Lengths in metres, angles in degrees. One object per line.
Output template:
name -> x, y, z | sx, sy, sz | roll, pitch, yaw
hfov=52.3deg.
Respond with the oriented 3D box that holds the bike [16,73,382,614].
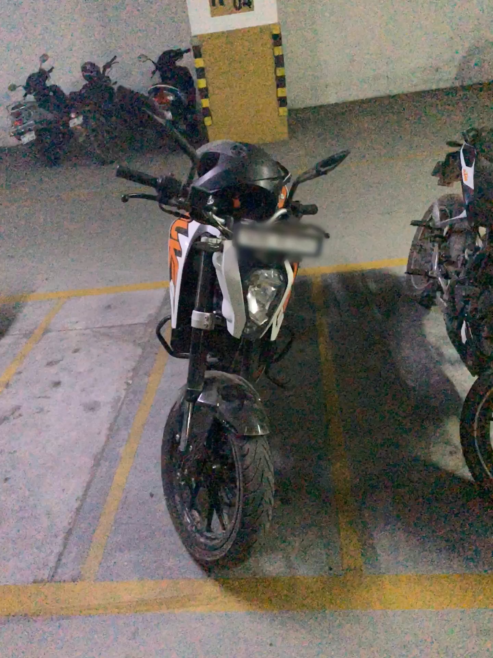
bike -> -0.007, -0.157, 2.145 | 0.803, 1.181, 1.922 | -5, 36, 6
